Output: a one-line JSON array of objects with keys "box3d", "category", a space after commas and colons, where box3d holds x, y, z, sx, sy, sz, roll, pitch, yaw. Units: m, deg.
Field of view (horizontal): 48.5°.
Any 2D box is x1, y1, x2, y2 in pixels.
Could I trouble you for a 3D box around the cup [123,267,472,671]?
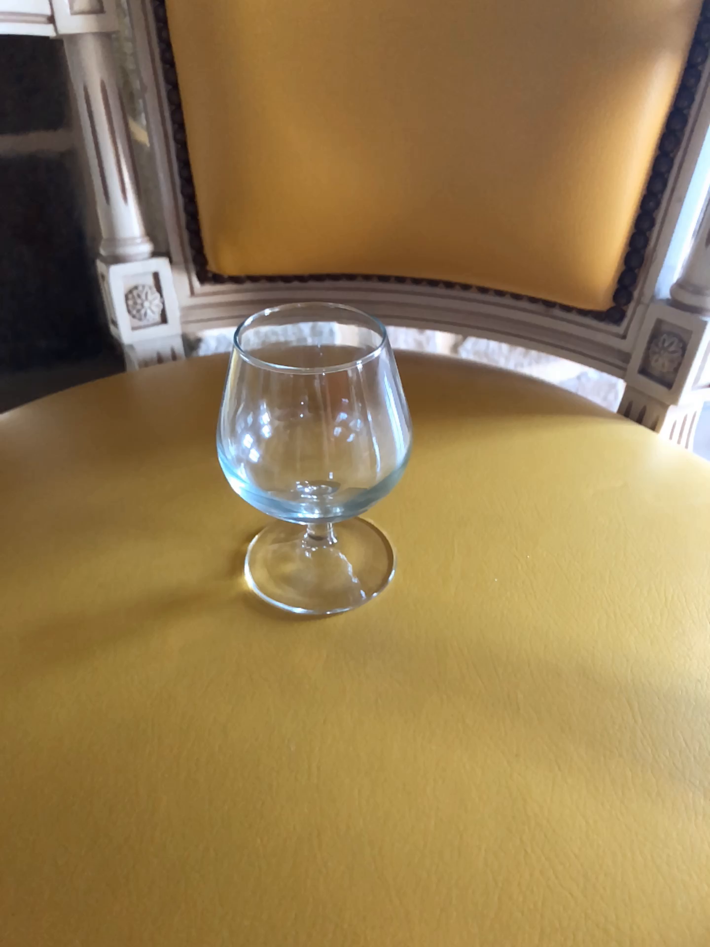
[{"box3d": [-0.014, -0.006, 0.260, 0.070, 0.089, 0.080, 20, 39, 27], "category": "cup"}]
